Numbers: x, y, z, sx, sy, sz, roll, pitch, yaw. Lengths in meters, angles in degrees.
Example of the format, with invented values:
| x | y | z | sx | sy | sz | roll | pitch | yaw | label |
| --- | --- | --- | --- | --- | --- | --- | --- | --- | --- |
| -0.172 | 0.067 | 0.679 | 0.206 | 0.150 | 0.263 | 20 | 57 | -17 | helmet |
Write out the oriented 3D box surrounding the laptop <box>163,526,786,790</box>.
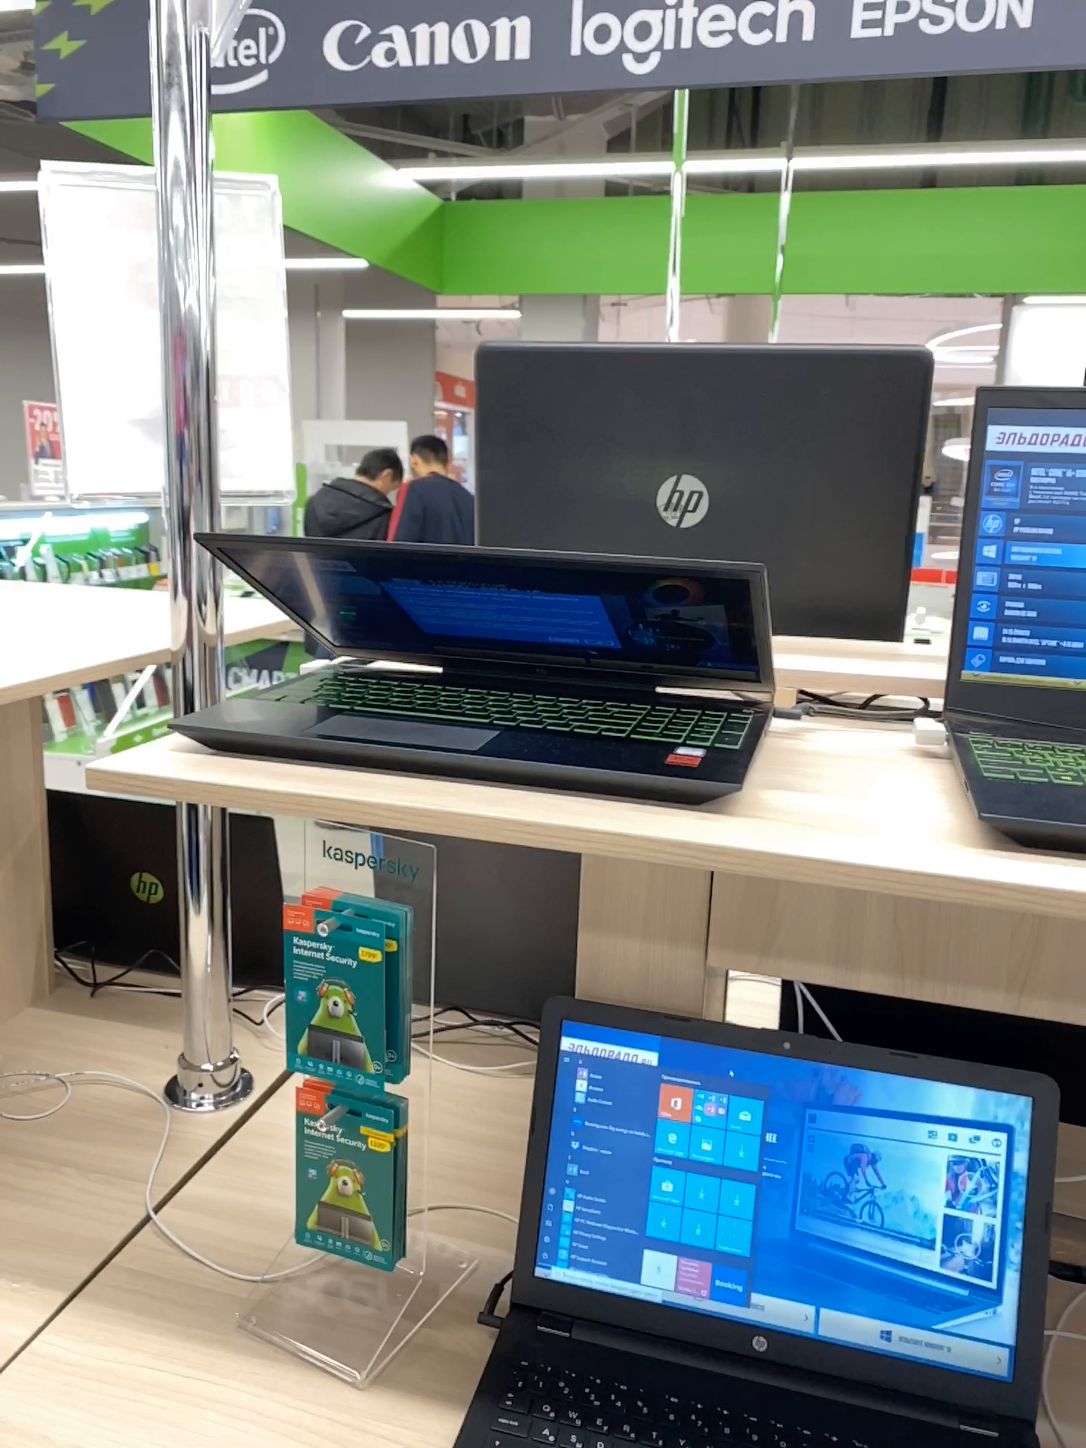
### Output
| x | y | z | sx | sy | sz | roll | pitch | yaw | label |
| --- | --- | --- | --- | --- | --- | --- | --- | --- | --- |
| -0.031 | -0.064 | 0.763 | 0.365 | 0.115 | 0.244 | 6 | 13 | 15 | laptop |
